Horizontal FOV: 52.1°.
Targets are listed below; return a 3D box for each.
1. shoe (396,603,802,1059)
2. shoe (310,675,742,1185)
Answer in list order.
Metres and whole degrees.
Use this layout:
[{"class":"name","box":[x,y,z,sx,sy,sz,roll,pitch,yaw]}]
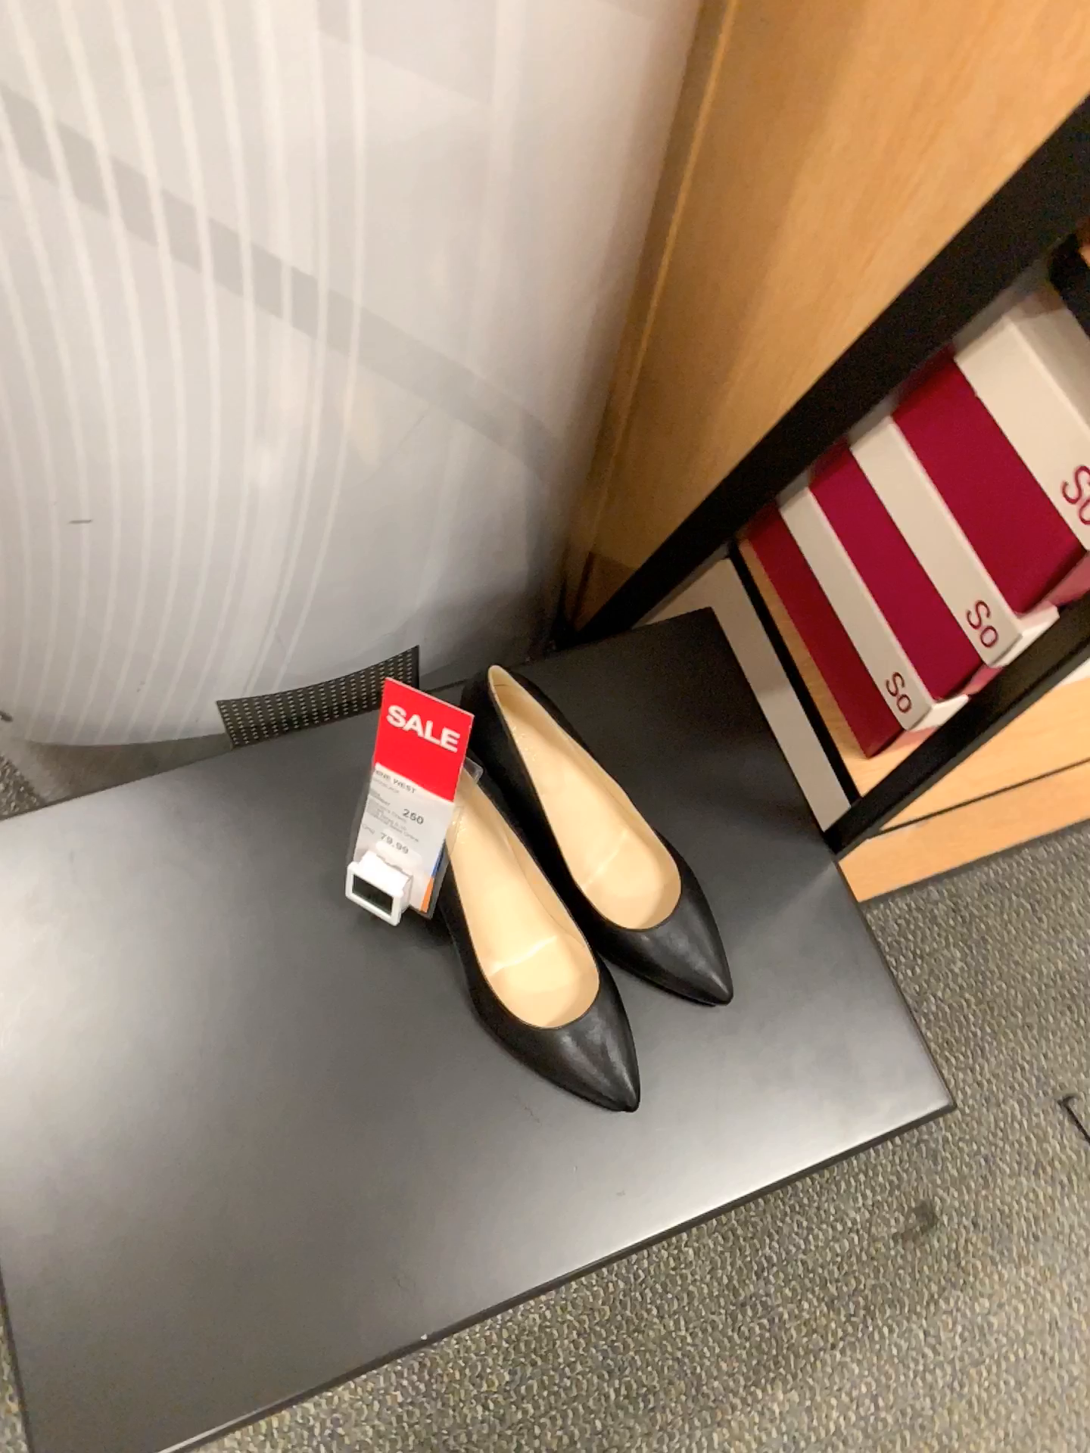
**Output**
[{"class":"shoe","box":[0.019,0.078,0.743,0.100,0.190,0.250,-37,75,-20]},{"class":"shoe","box":[-0.024,0.130,0.664,0.100,0.190,0.250,-31,73,-18]}]
